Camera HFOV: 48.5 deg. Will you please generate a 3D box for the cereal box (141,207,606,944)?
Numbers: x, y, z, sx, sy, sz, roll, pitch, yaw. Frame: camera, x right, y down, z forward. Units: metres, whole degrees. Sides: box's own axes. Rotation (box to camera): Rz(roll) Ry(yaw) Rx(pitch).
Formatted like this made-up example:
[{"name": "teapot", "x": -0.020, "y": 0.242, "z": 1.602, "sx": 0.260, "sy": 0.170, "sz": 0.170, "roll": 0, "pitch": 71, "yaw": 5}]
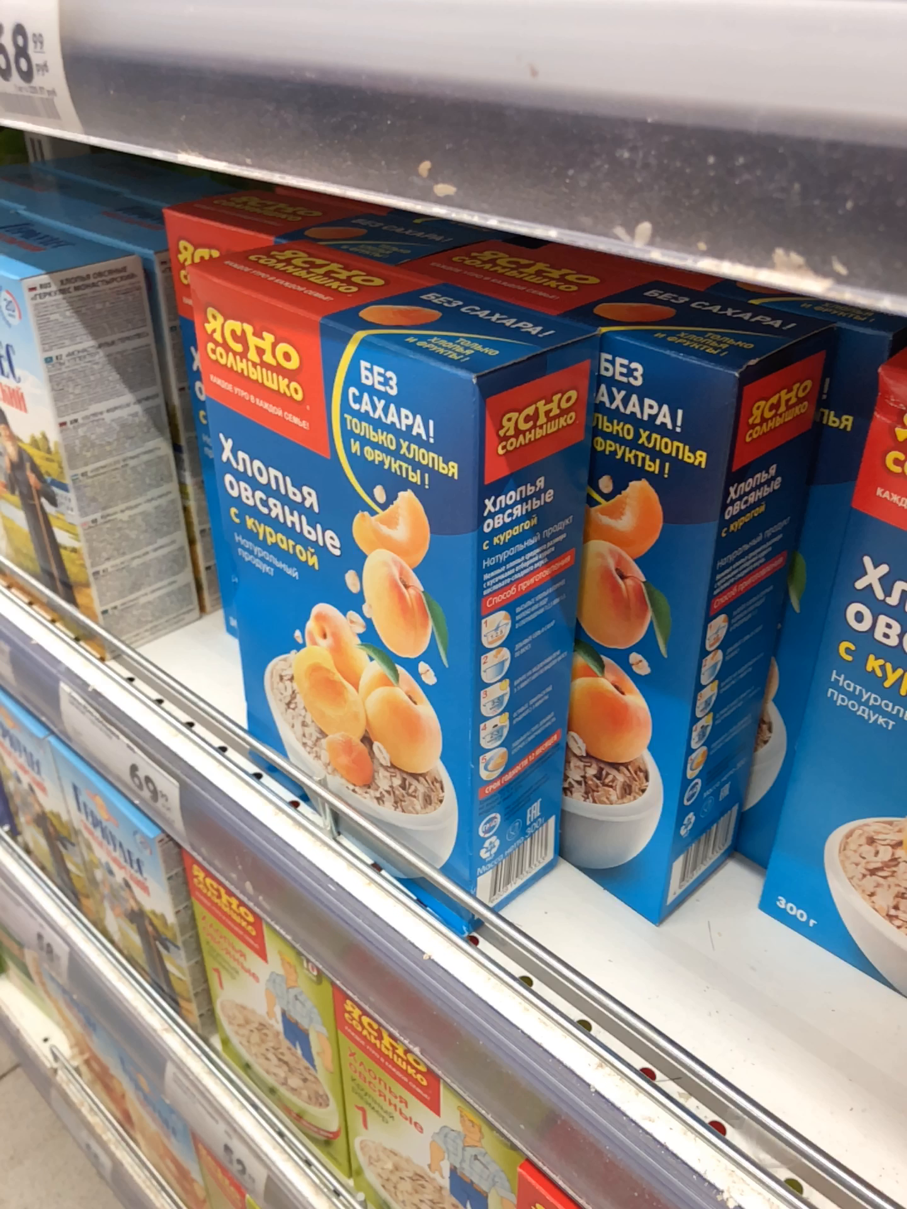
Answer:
[{"name": "cereal box", "x": -0.030, "y": -0.012, "z": 0.347, "sx": 0.050, "sy": 0.209, "sz": 0.150, "roll": -27, "pitch": 41, "yaw": -35}]
